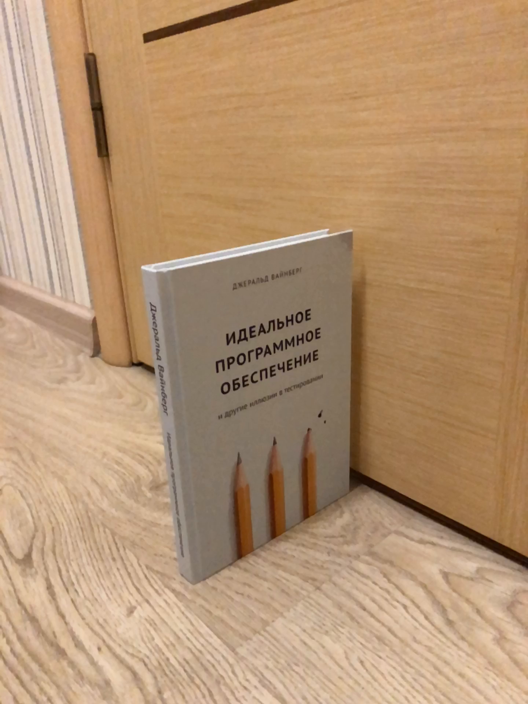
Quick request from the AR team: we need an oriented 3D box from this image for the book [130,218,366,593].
[{"bbox_3d":[0.003,0.029,0.385,0.163,0.209,0.023,-19,26,-36],"label":"book"}]
